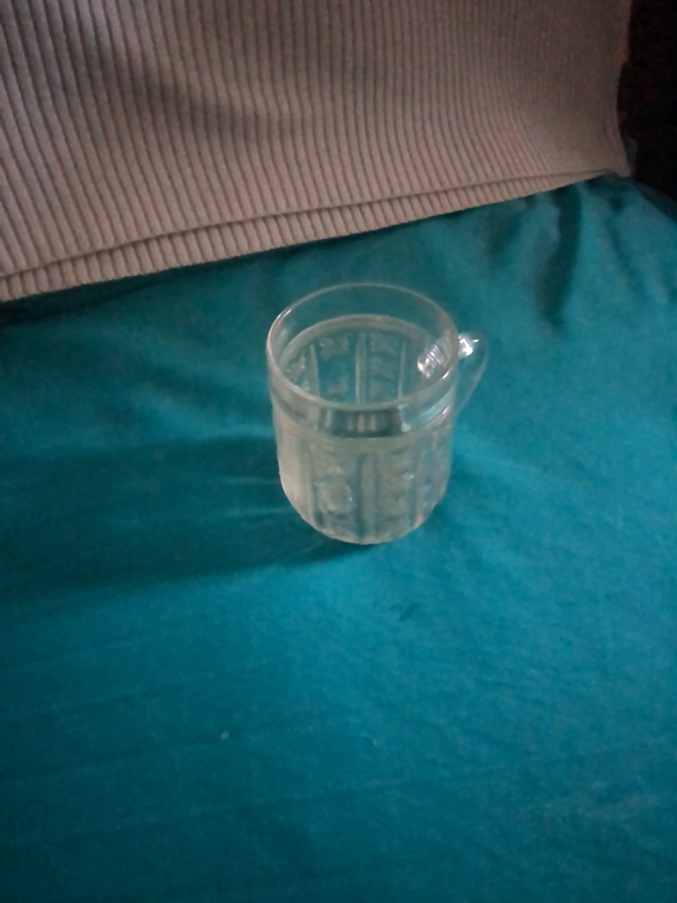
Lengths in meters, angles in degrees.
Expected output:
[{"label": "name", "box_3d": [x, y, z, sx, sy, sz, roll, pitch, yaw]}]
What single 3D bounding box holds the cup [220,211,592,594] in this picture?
[{"label": "cup", "box_3d": [0.022, -0.019, 0.270, 0.104, 0.076, 0.064, -34, 61, -25]}]
